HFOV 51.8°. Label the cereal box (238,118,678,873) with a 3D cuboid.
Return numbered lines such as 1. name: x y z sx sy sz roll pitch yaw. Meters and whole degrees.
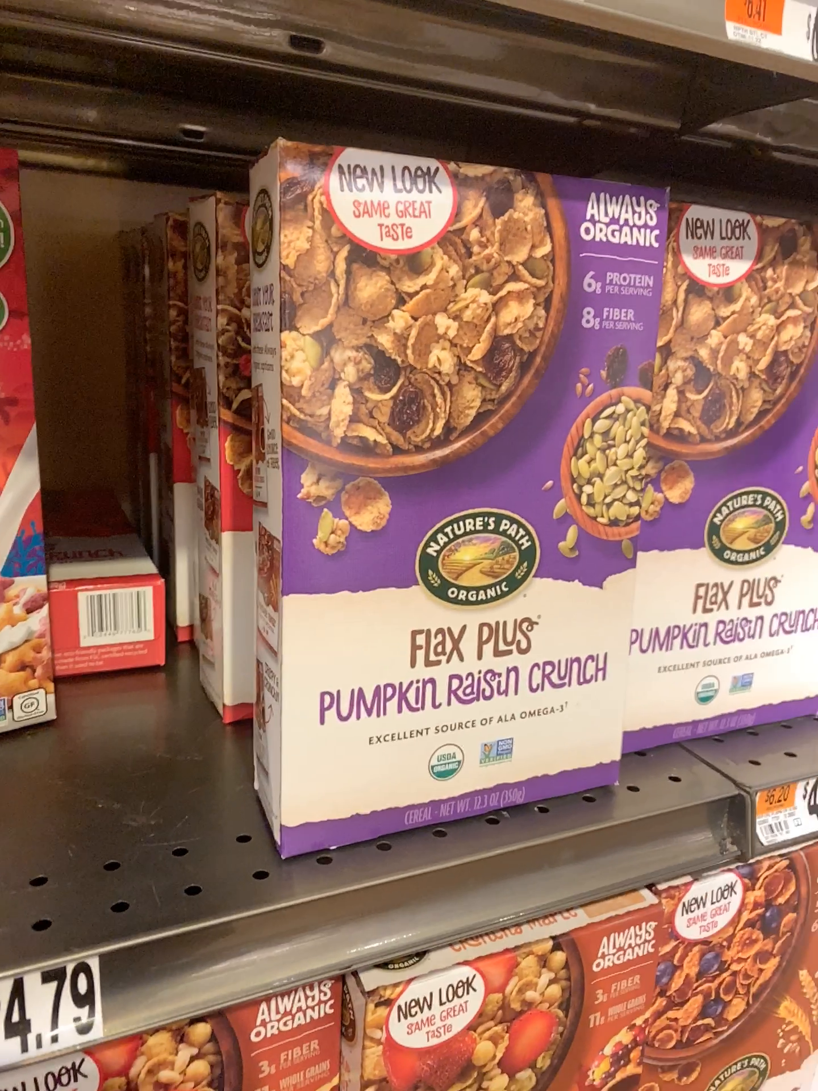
1. cereal box: 0.019 -0.017 0.356 0.170 0.269 0.050 -3 11 -24
